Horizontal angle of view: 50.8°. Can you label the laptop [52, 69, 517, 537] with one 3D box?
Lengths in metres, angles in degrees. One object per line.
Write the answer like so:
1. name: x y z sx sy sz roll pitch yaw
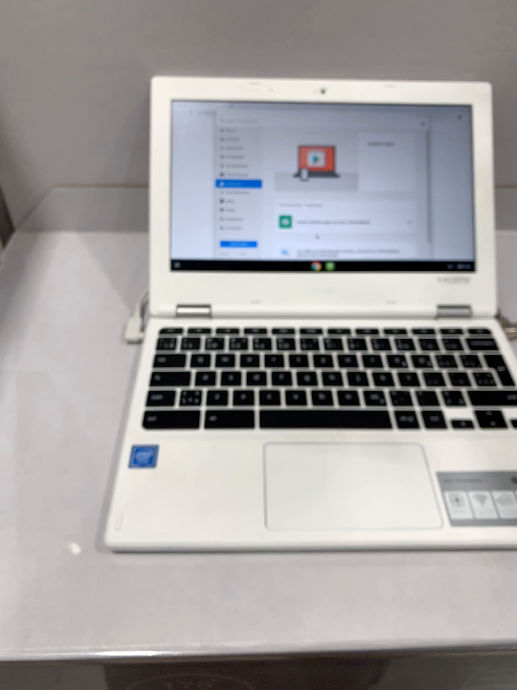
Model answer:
1. laptop: 0.056 -0.057 0.380 0.282 0.132 0.330 1 46 -2
